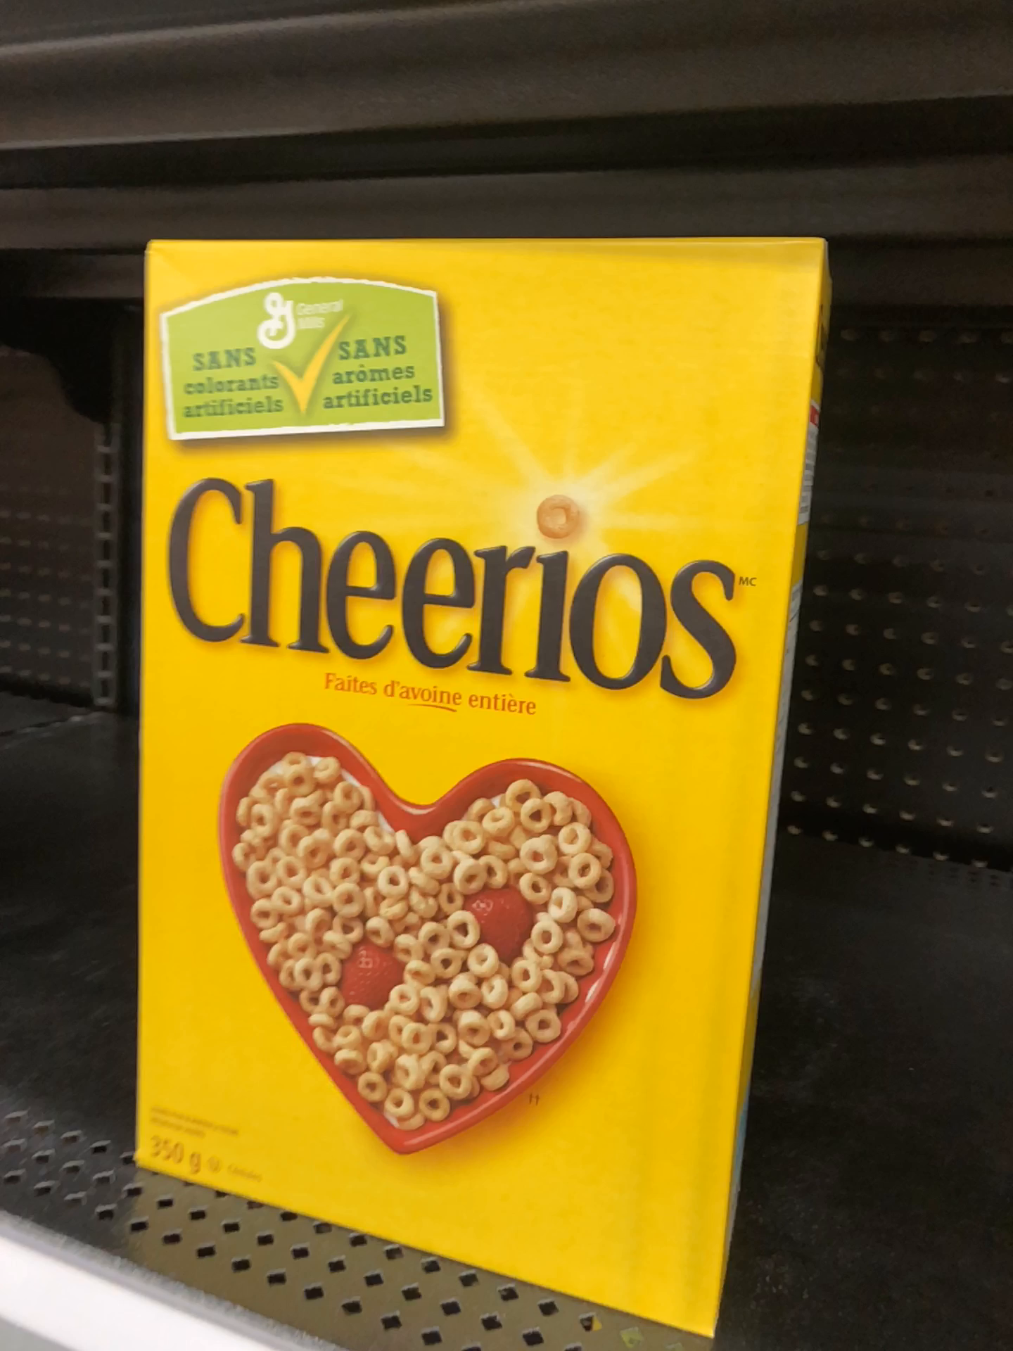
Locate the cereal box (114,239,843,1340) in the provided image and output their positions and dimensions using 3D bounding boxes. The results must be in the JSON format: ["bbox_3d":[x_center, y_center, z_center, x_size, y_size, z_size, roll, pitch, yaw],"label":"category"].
[{"bbox_3d":[-0.016,0.025,0.375,0.210,0.309,0.080,7,10,18],"label":"cereal box"}]
